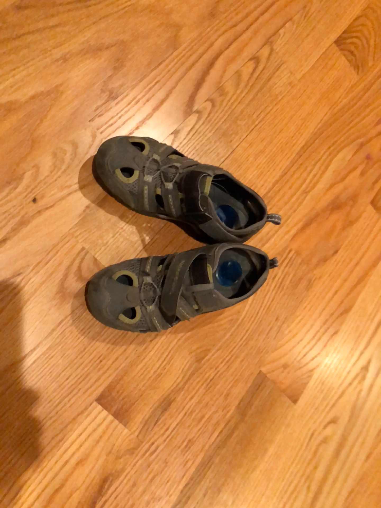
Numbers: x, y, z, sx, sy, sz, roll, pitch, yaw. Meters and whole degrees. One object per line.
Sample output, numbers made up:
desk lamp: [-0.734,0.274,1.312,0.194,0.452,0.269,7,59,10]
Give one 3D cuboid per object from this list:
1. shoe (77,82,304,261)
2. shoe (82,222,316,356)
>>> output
shoe: [0.002,-0.086,0.529,0.245,0.113,0.100,22,73,-22]
shoe: [0.012,0.036,0.512,0.245,0.113,0.100,-10,87,-28]
